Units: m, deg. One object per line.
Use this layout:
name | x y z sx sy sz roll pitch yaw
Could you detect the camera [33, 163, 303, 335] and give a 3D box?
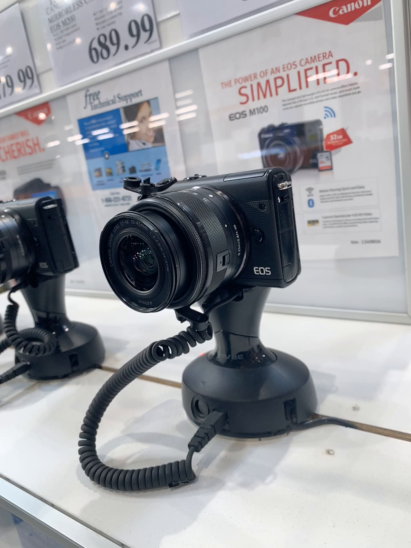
camera | -0.020 -0.020 0.241 0.110 0.066 0.093 3 14 41
